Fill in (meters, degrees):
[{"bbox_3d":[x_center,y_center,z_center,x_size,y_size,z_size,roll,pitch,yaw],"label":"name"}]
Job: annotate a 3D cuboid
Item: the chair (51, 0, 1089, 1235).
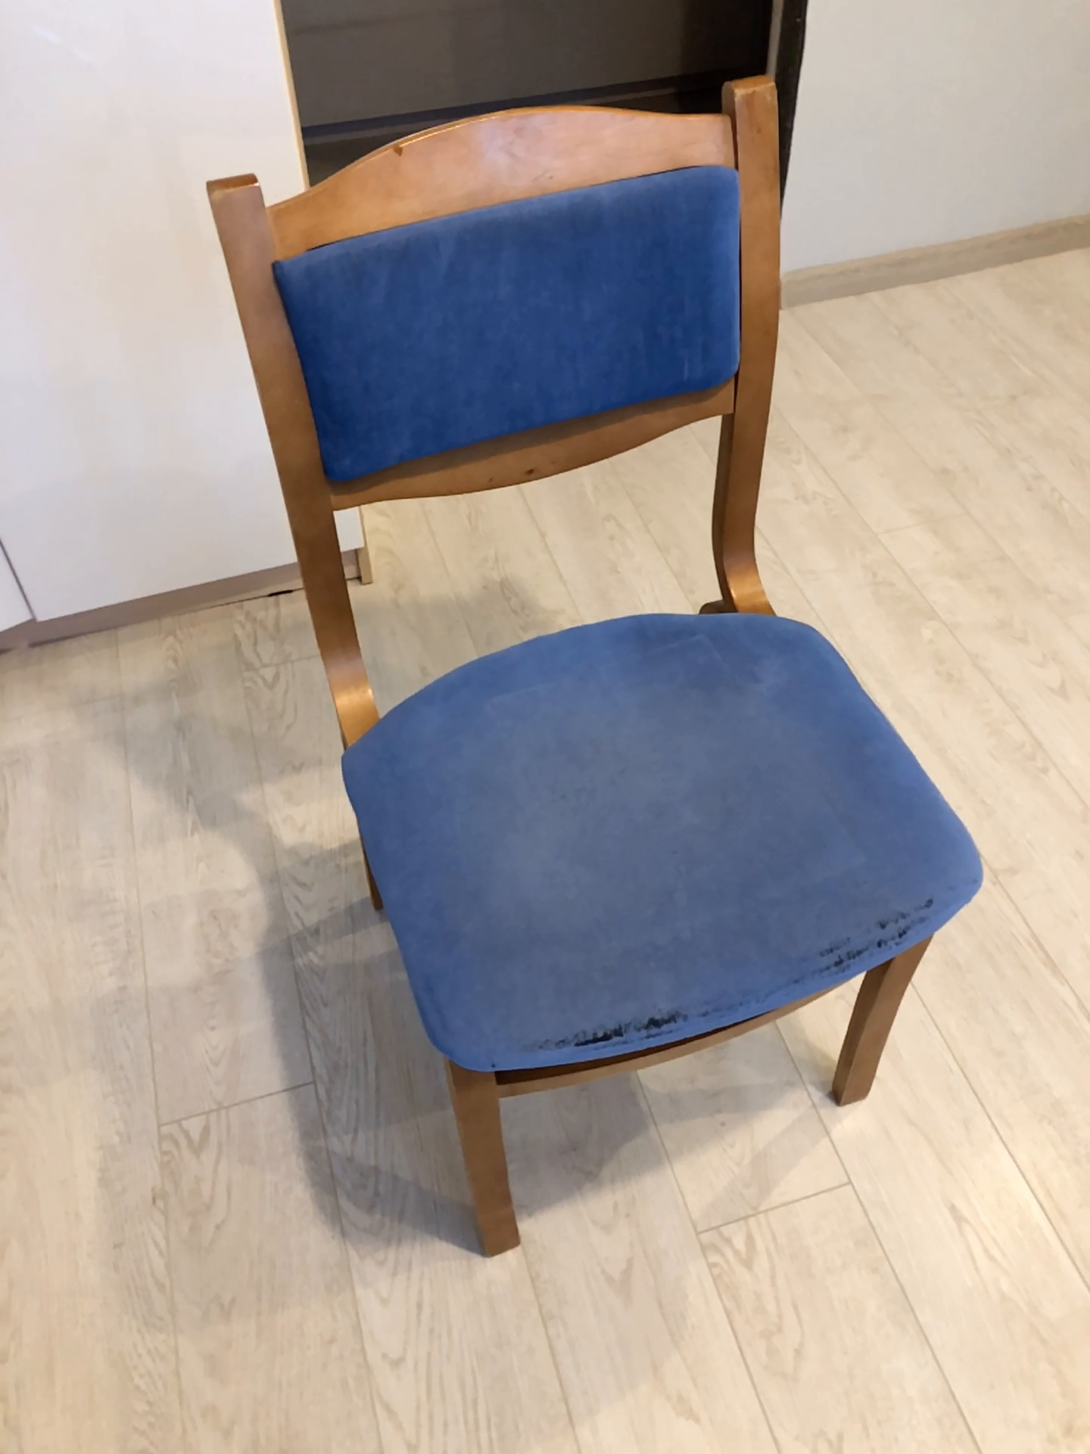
[{"bbox_3d":[-0.005,-0.032,0.956,0.450,0.805,0.473,-17,51,-11],"label":"chair"}]
